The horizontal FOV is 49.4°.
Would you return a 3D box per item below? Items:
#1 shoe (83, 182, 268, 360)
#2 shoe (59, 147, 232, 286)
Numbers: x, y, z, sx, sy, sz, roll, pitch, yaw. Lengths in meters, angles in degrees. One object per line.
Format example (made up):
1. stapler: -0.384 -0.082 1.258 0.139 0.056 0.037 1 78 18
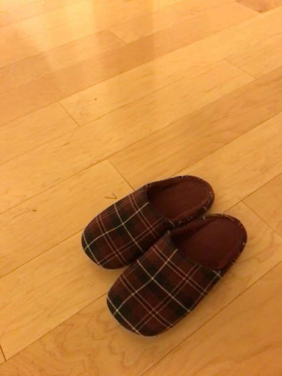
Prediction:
1. shoe: 0.059 0.113 0.480 0.271 0.050 0.120 -35 59 -22
2. shoe: 0.011 0.037 0.523 0.261 0.050 0.120 -29 56 -18
